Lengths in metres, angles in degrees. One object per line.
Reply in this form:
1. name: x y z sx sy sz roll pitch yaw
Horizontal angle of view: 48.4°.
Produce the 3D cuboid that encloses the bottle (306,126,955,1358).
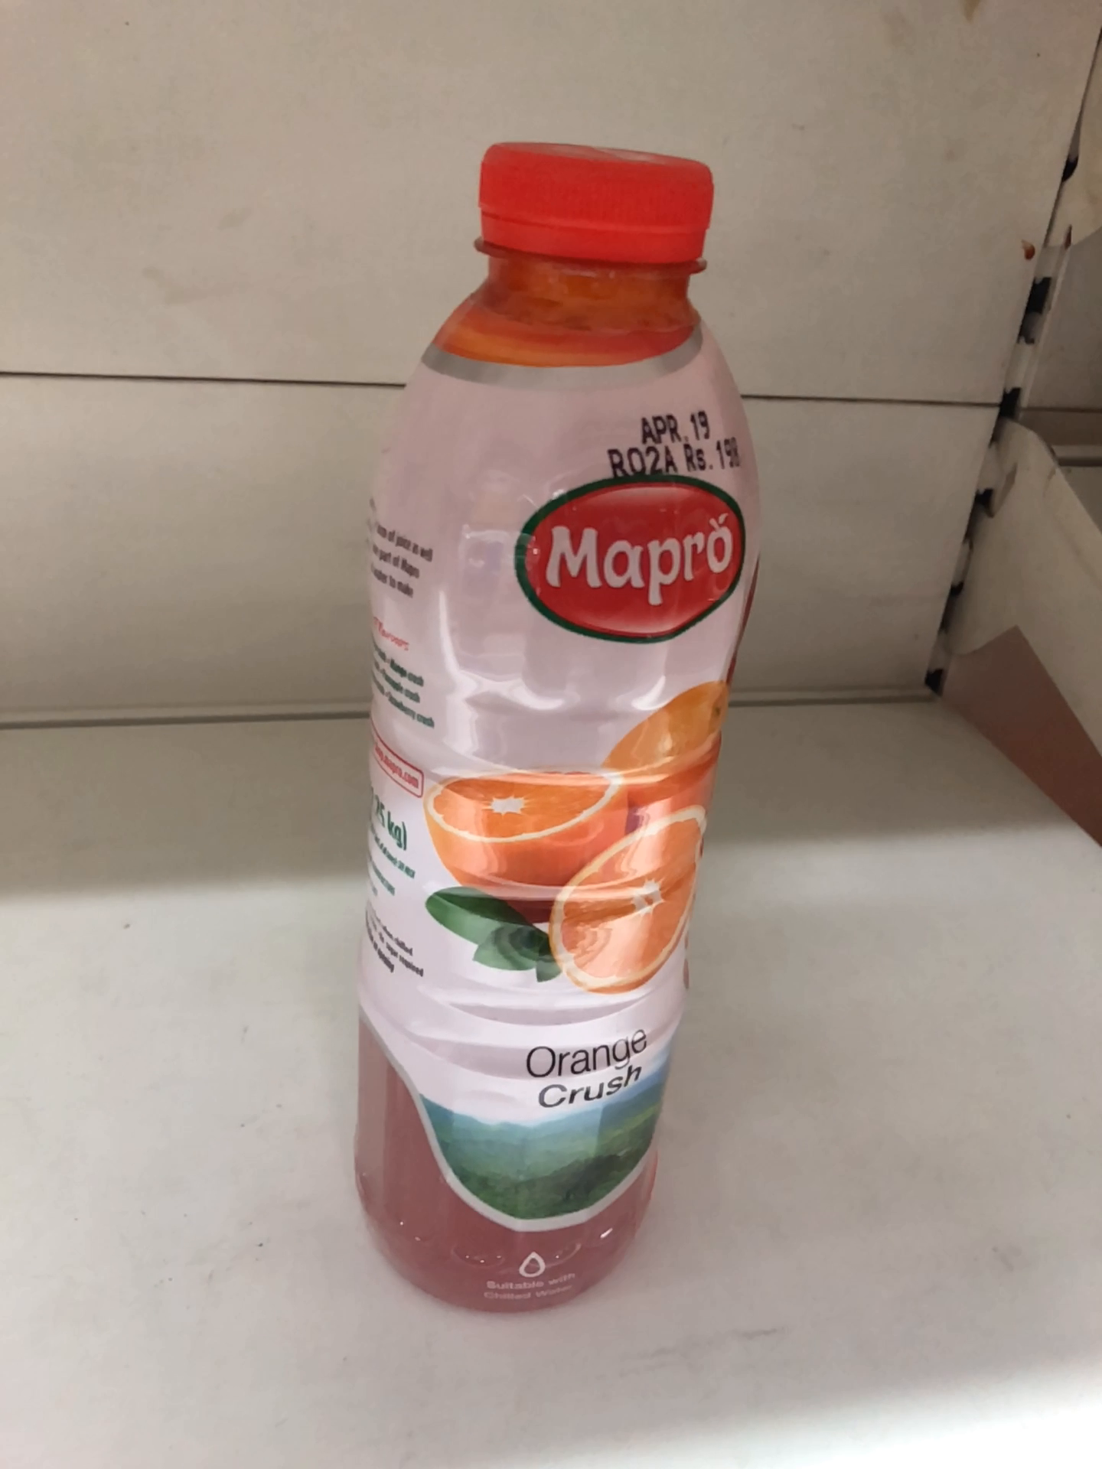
1. bottle: 0.000 0.011 0.266 0.090 0.248 0.070 -6 30 -21
